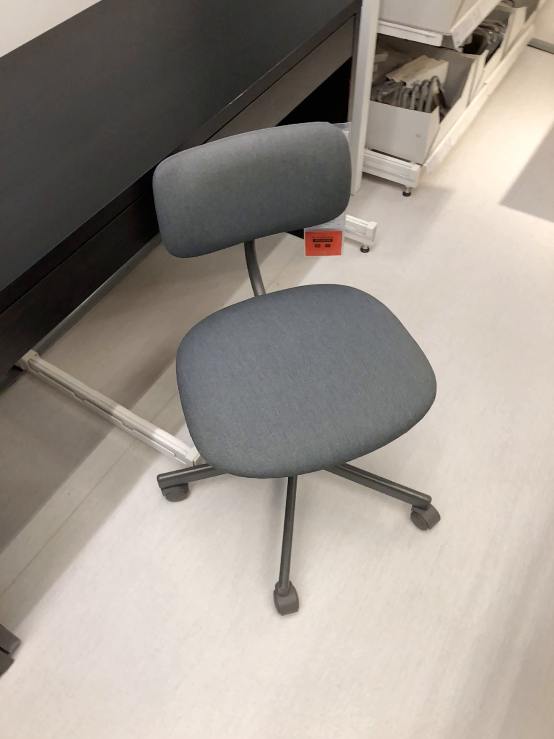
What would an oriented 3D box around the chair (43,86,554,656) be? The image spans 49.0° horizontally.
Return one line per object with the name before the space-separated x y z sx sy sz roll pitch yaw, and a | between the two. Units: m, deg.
chair | 0.037 0.015 1.098 0.620 0.676 0.593 -17 53 -12
